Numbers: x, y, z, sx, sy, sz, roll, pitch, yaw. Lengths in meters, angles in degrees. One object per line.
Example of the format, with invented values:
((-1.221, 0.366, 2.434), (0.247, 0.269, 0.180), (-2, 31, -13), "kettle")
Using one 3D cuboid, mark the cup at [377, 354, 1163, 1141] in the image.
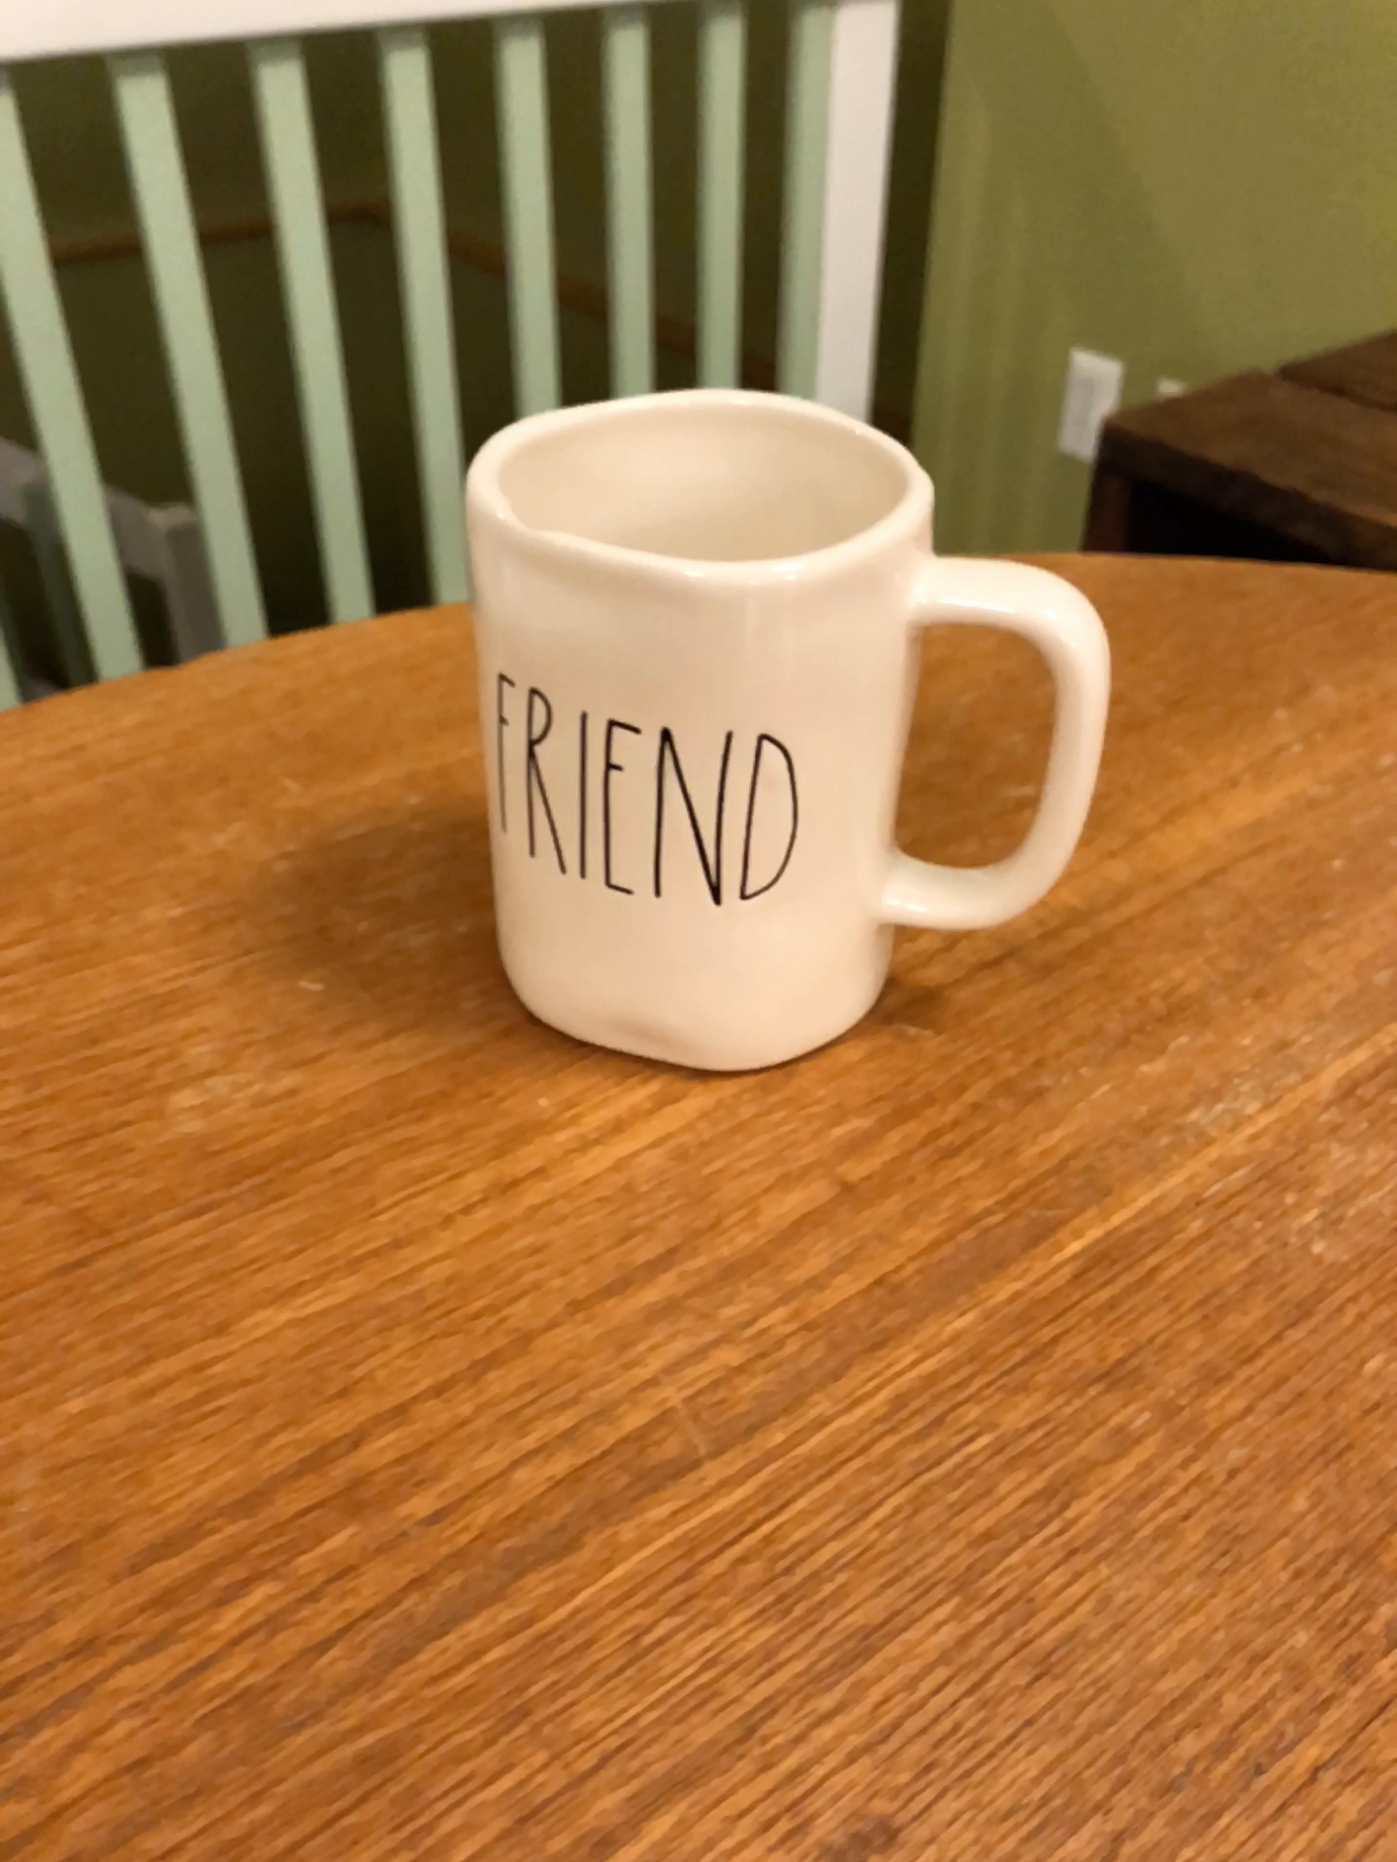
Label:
((0.017, -0.040, 0.316), (0.124, 0.114, 0.084), (11, 38, 13), "cup")
